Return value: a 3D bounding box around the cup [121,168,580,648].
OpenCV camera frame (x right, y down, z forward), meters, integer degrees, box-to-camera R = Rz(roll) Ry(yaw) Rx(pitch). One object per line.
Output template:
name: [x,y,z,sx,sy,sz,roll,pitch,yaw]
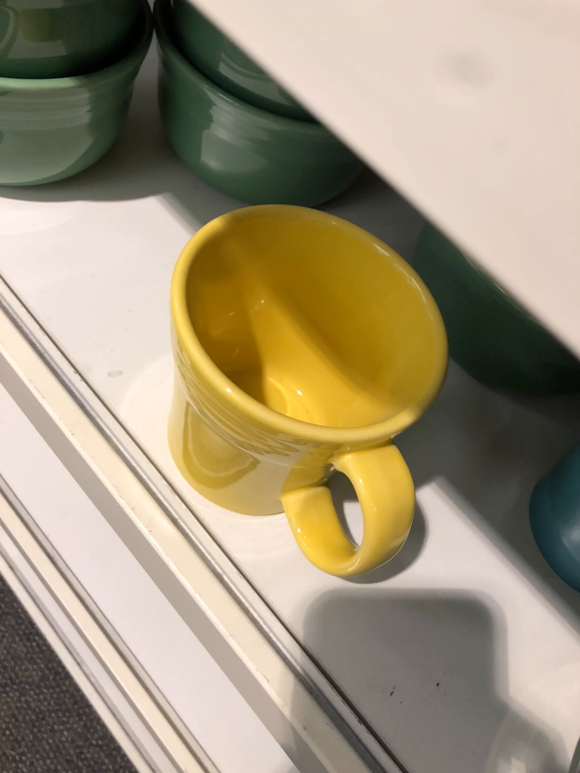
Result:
cup: [0.012,0.008,0.263,0.097,0.100,0.137,-27,70,-30]
